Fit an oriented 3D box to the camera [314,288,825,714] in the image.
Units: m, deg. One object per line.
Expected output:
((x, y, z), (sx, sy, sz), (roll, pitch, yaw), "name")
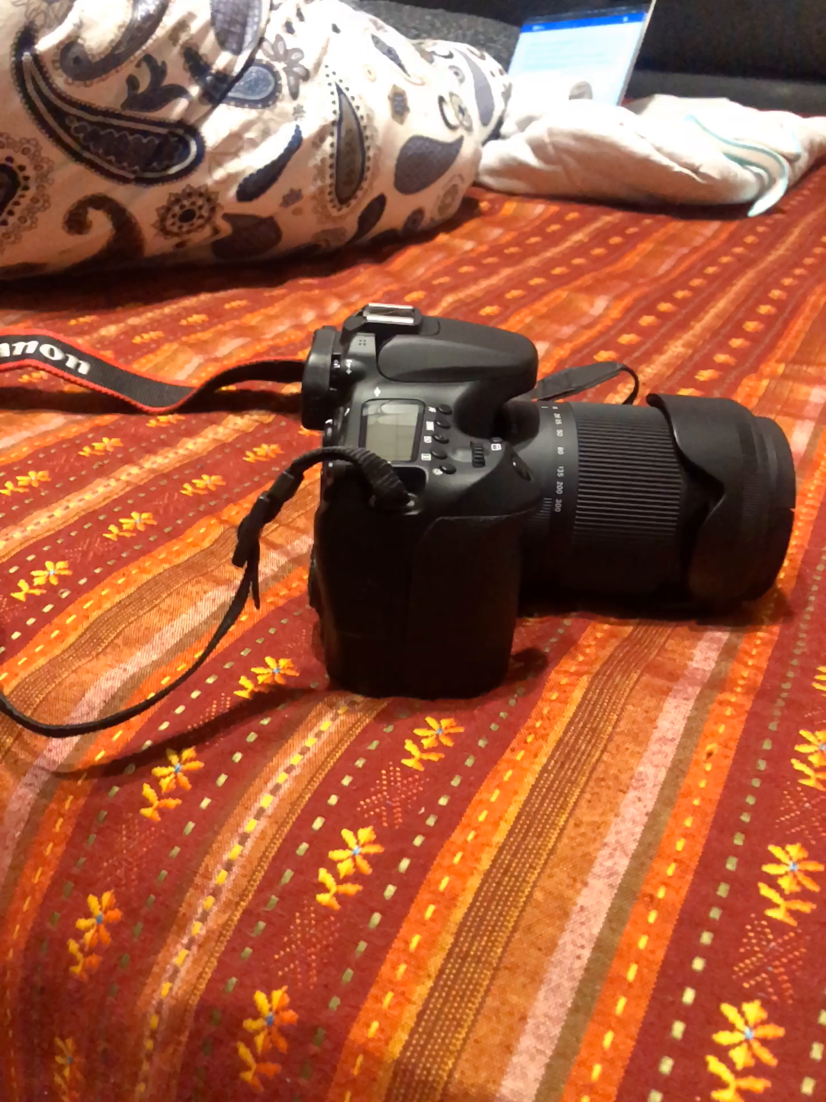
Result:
((0.051, -0.027, 0.335), (0.170, 0.099, 0.131), (-2, 33, -6), "camera")
